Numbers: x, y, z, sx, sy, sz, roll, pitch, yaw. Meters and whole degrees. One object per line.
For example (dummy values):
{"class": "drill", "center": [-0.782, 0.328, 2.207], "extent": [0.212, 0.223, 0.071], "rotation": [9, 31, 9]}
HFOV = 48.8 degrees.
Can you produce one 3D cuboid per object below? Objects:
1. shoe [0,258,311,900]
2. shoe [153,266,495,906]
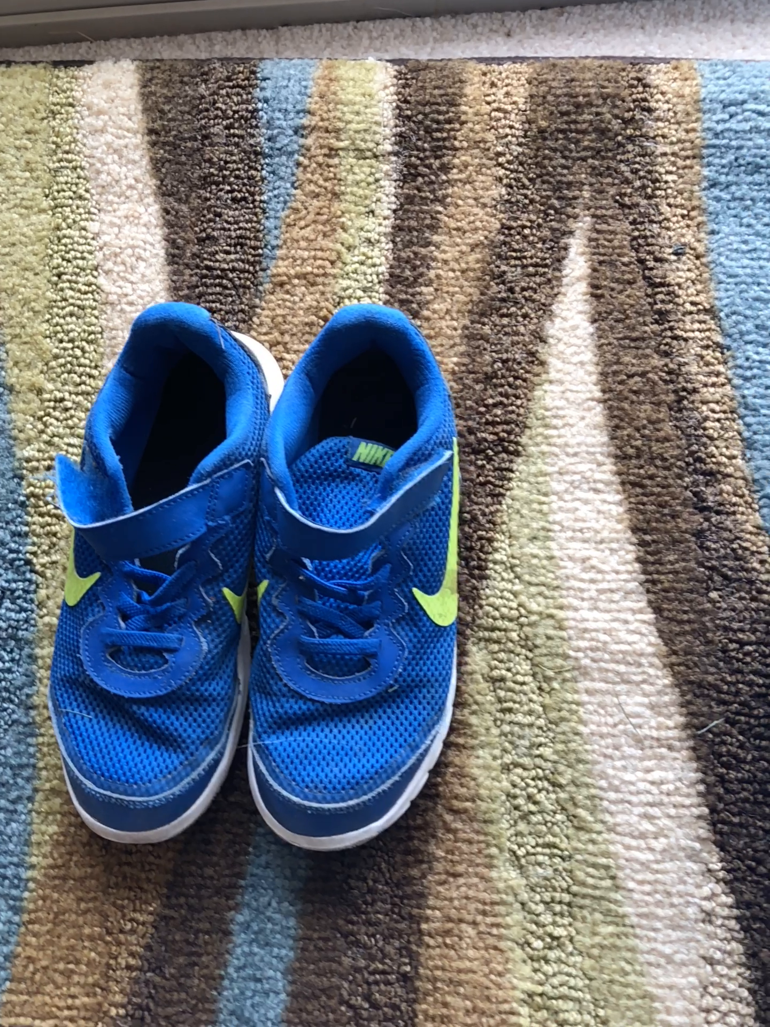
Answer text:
{"class": "shoe", "center": [-0.106, 0.022, 0.357], "extent": [0.102, 0.075, 0.233], "rotation": [7, 77, 5]}
{"class": "shoe", "center": [-0.016, 0.024, 0.350], "extent": [0.103, 0.075, 0.231], "rotation": [4, 77, 4]}
